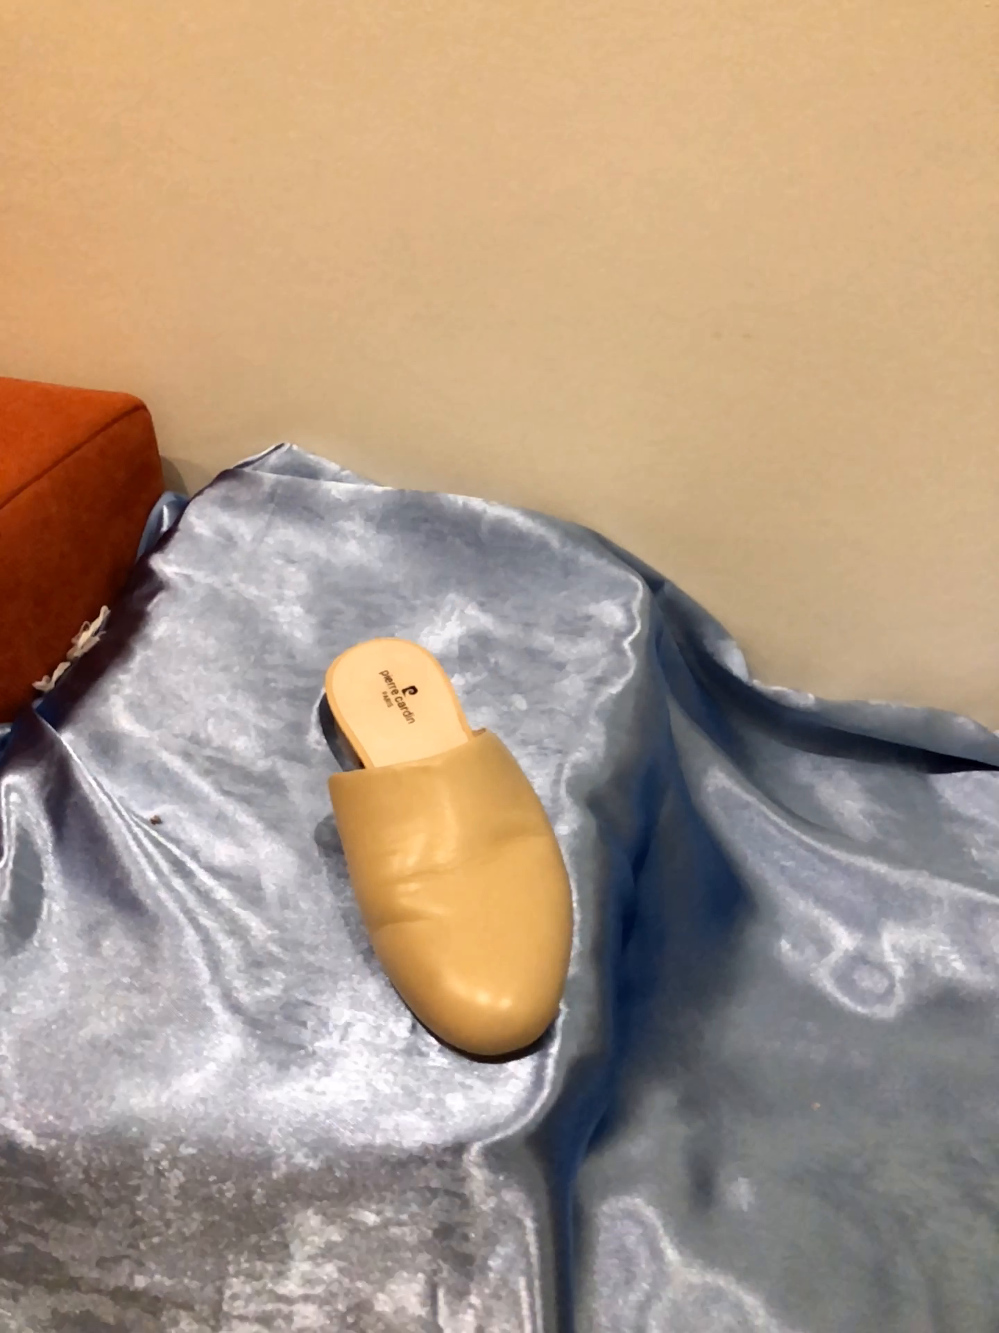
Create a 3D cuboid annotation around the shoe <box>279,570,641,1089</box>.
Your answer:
[{"bbox_3d":[-0.034,0.054,0.511,0.095,0.060,0.262,-8,38,-16],"label":"shoe"}]
